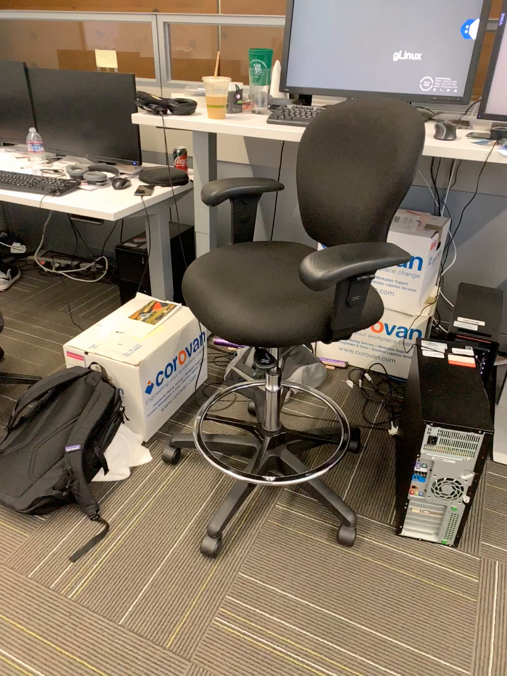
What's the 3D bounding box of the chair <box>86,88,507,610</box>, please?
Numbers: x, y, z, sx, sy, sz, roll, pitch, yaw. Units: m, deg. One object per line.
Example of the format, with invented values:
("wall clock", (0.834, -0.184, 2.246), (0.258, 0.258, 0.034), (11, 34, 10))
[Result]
("chair", (0.087, -0.051, 1.448), (0.770, 1.103, 0.714), (-15, 34, -26))
